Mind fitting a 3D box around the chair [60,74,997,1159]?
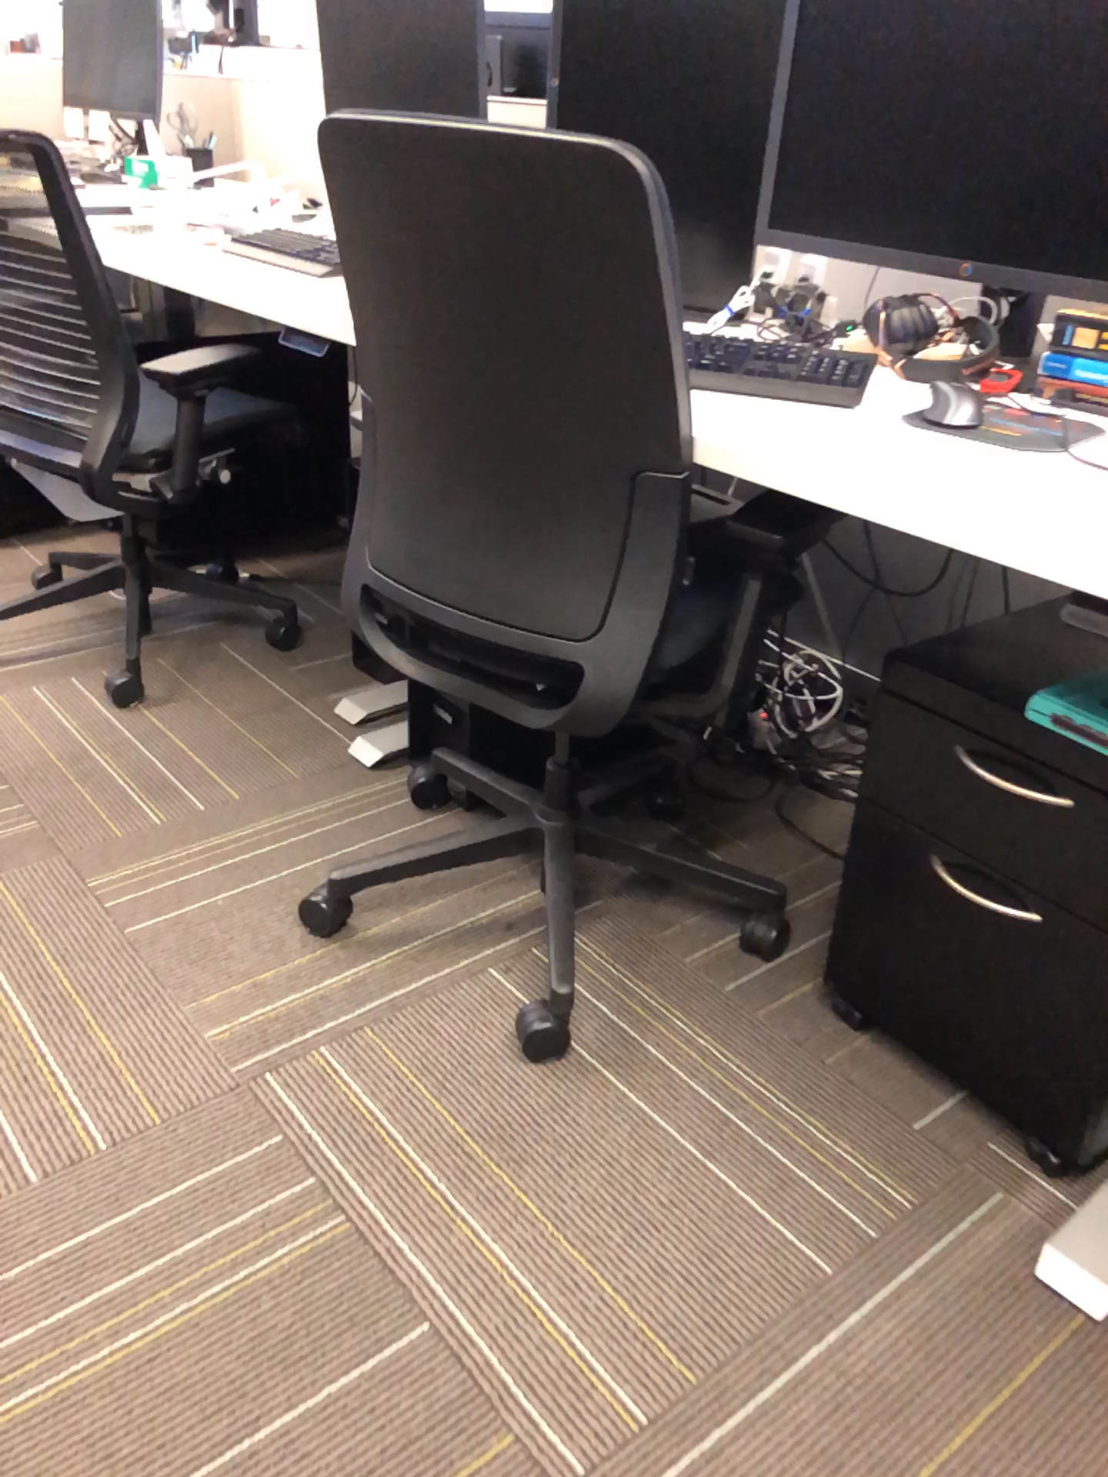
[{"bbox_3d":[-0.079,-0.236,1.535,0.661,1.014,0.783,-19,35,-35],"label":"chair"}]
